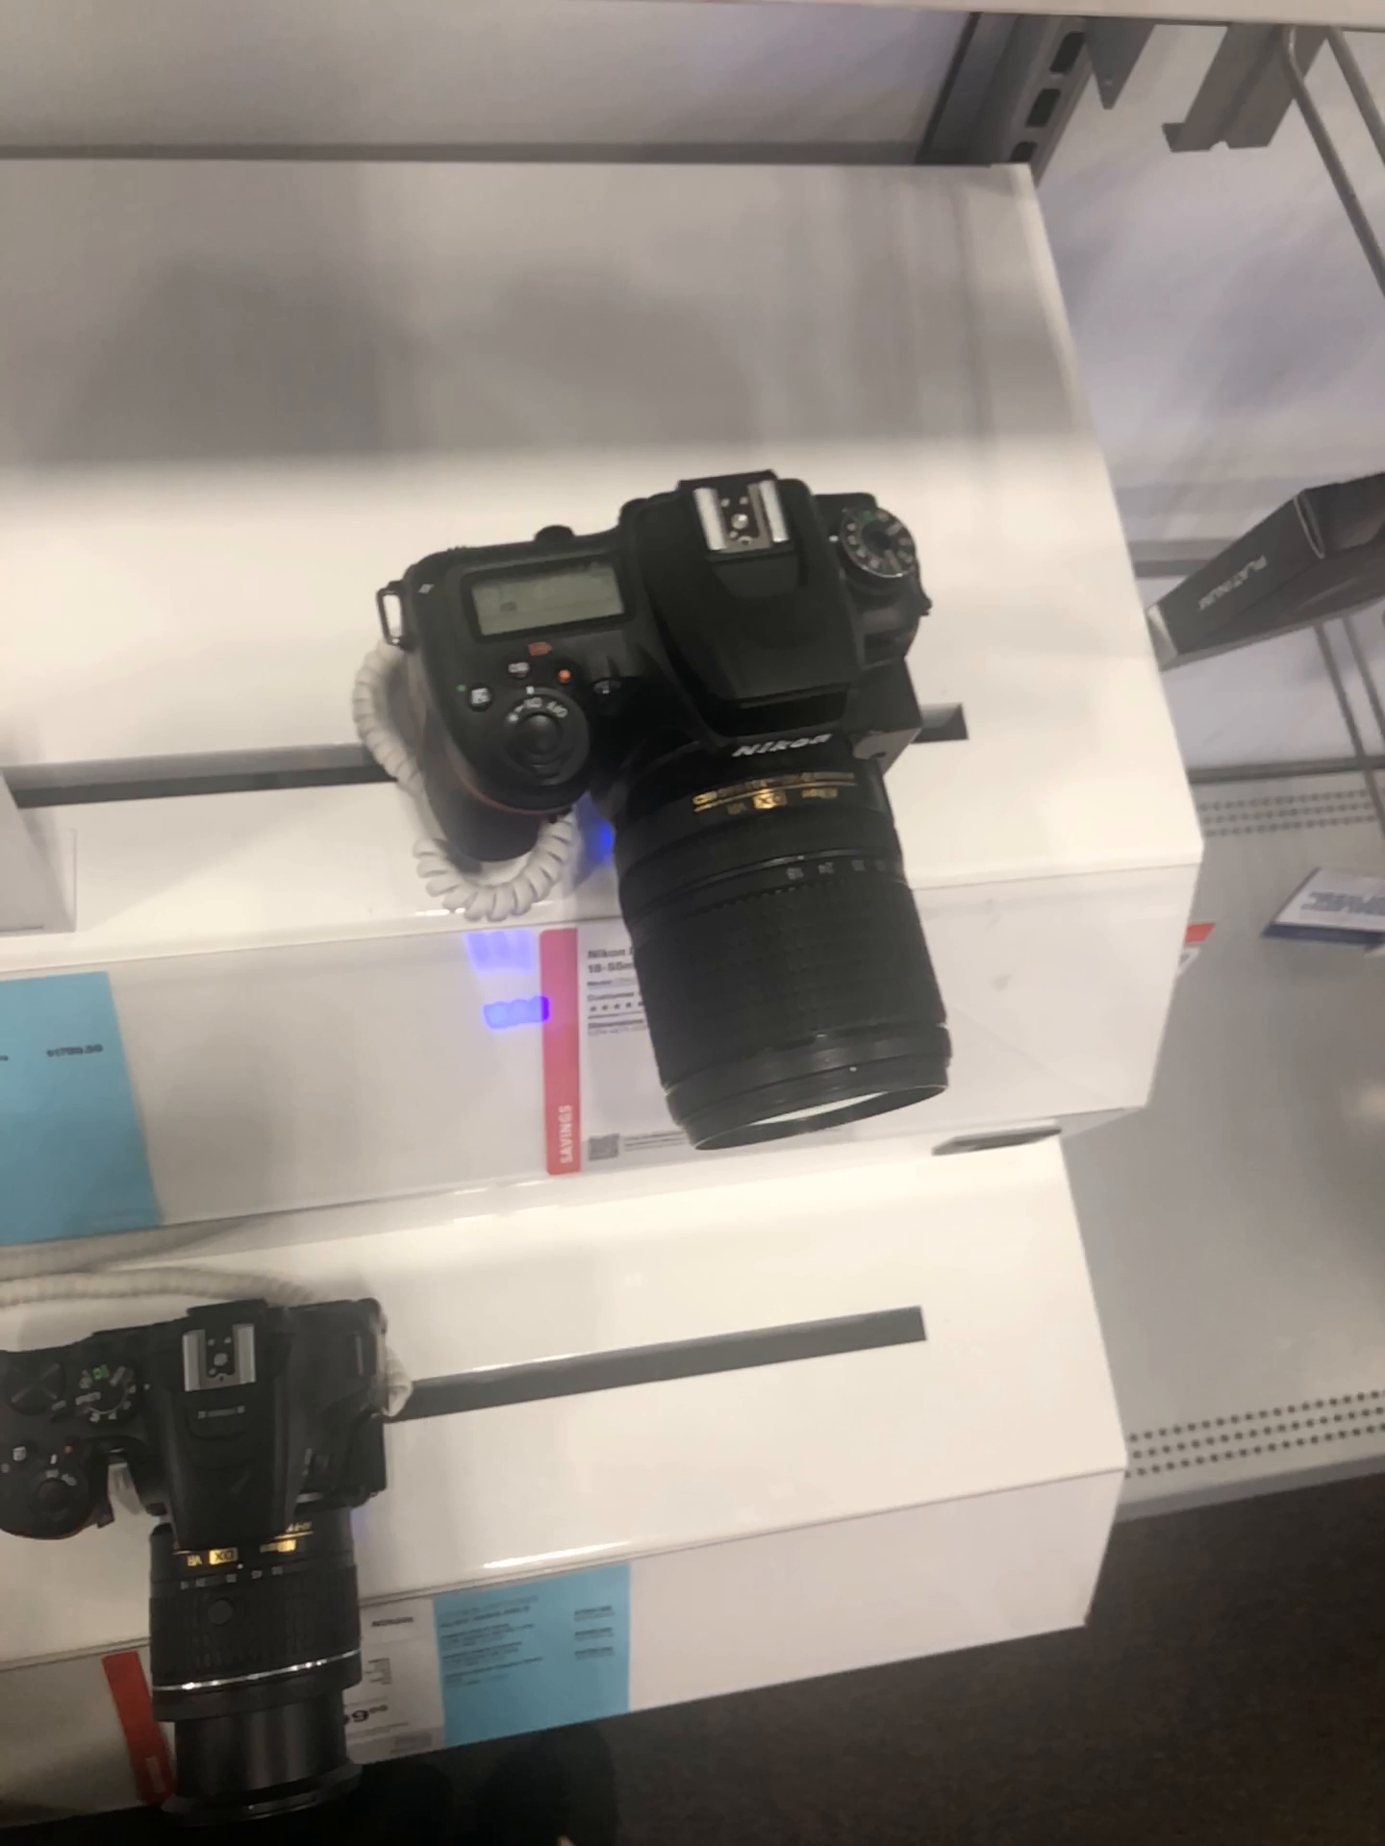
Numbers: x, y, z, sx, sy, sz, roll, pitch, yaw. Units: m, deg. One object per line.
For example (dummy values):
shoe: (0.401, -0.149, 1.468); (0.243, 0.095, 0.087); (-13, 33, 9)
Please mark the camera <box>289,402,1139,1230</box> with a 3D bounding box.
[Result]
camera: (-0.005, -0.024, 0.397); (0.160, 0.110, 0.160); (-10, 73, -12)
